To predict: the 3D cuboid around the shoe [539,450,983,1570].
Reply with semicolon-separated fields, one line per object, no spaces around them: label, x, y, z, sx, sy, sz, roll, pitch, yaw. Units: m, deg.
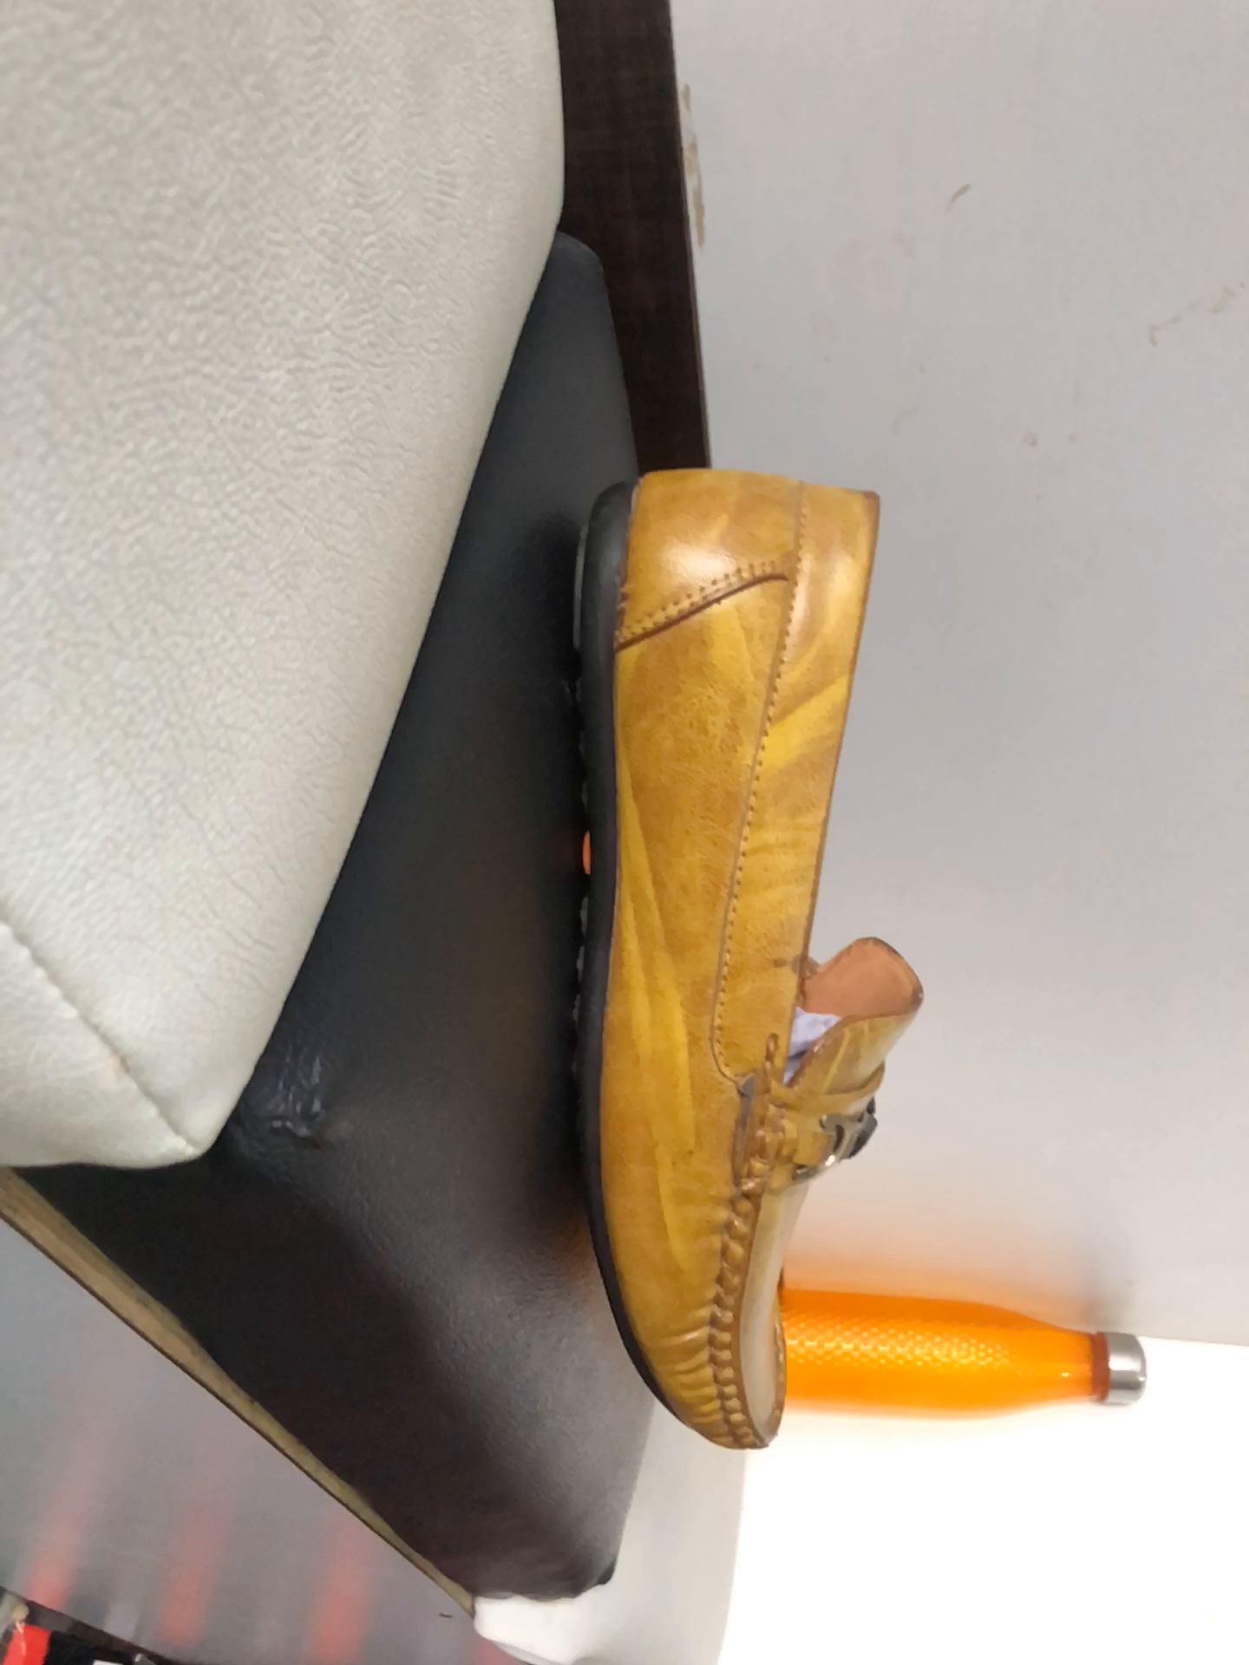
shoe;0.045;0.032;0.401;0.170;0.090;0.270;-59;149;-70
